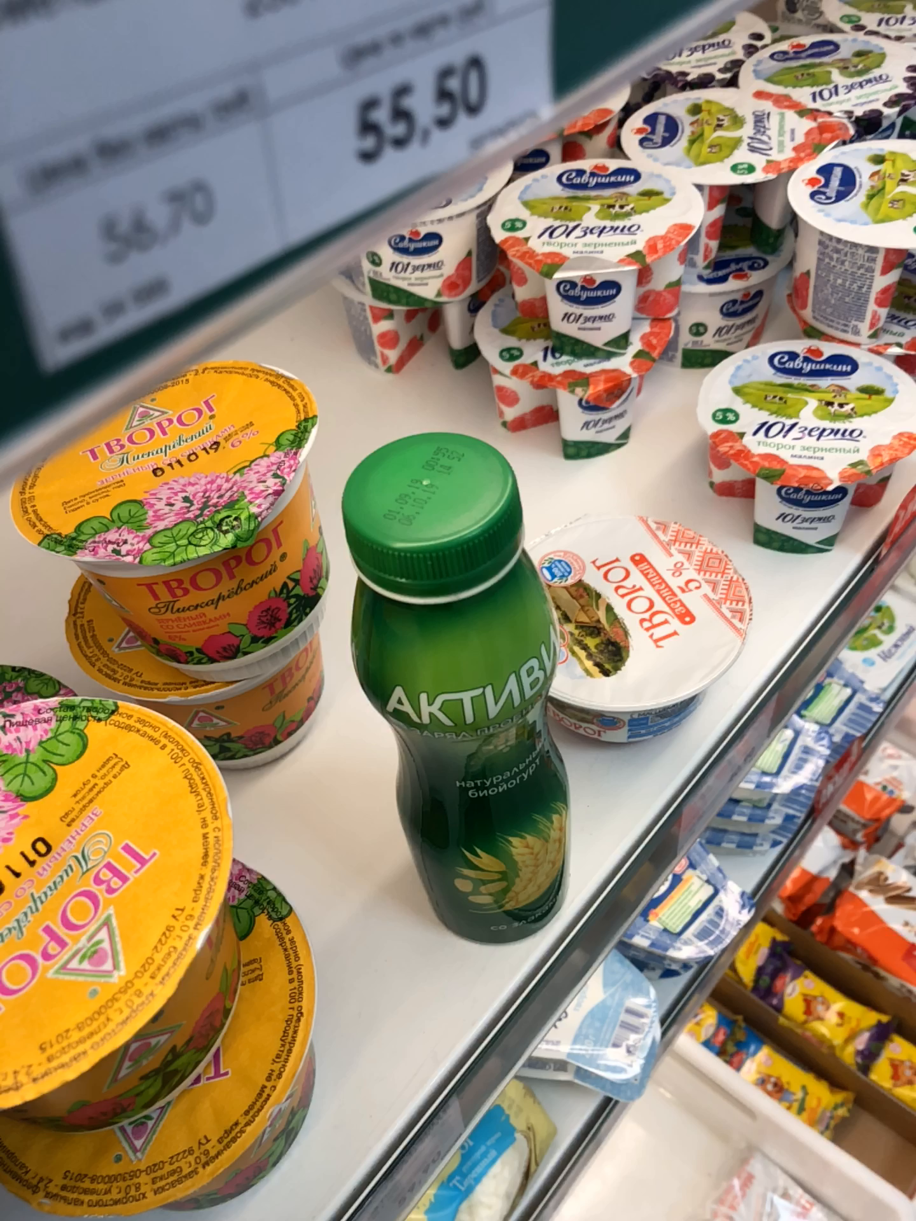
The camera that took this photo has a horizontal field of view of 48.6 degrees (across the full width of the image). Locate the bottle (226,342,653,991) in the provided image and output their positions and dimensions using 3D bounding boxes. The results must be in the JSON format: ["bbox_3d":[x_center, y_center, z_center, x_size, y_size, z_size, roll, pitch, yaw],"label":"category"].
[{"bbox_3d":[0.002,0.029,0.286,0.070,0.184,0.060,-29,53,-18],"label":"bottle"}]
